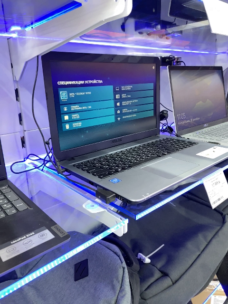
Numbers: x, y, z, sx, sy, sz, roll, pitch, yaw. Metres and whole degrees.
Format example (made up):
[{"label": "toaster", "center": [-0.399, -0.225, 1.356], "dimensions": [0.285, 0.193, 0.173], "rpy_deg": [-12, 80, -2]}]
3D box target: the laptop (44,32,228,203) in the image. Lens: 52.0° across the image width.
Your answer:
[{"label": "laptop", "center": [0.085, -0.103, 0.529], "dimensions": [0.372, 0.232, 0.263], "rpy_deg": [-16, 22, -39]}]
